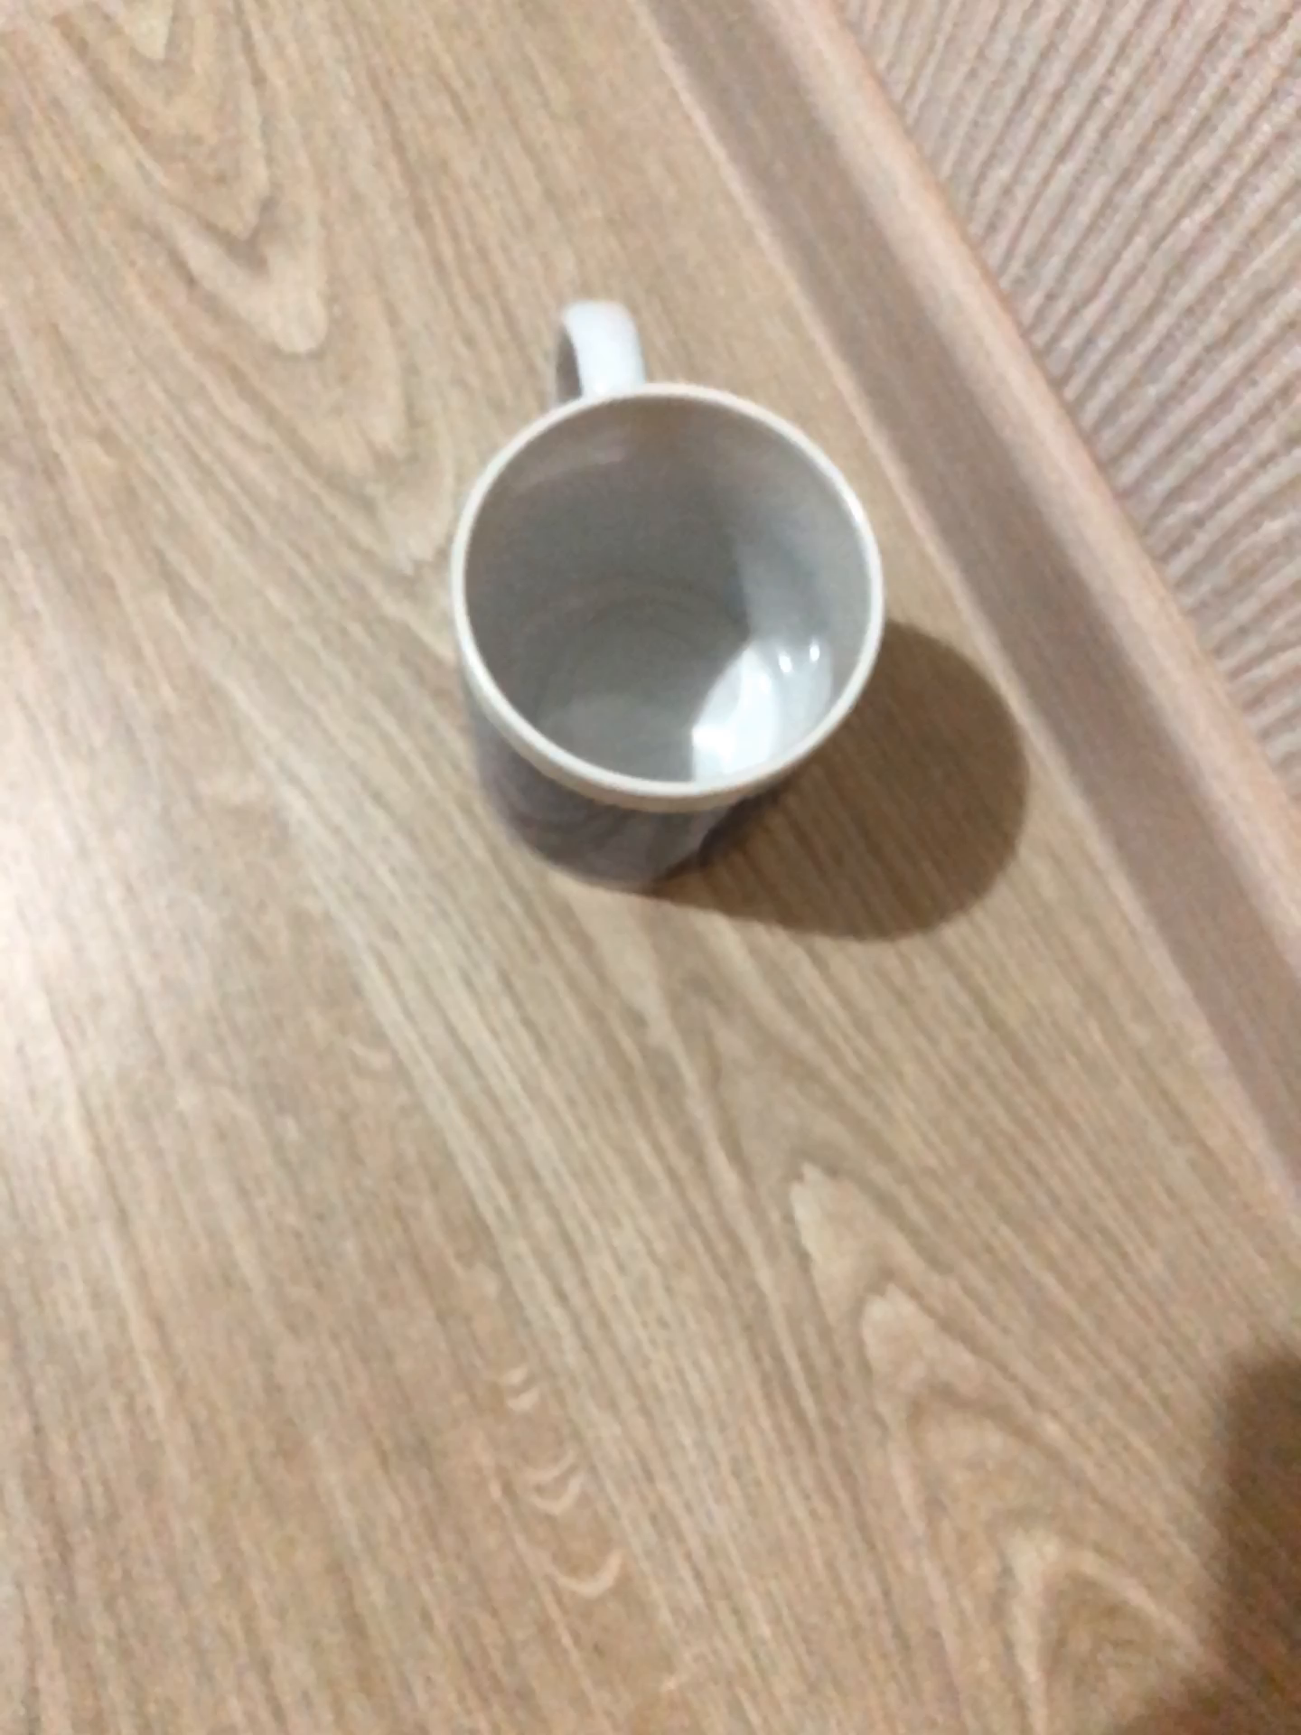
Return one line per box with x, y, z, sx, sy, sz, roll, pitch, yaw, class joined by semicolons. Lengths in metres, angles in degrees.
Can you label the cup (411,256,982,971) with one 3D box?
0.003;-0.050;0.327;0.093;0.099;0.123;-7;79;-8;cup
